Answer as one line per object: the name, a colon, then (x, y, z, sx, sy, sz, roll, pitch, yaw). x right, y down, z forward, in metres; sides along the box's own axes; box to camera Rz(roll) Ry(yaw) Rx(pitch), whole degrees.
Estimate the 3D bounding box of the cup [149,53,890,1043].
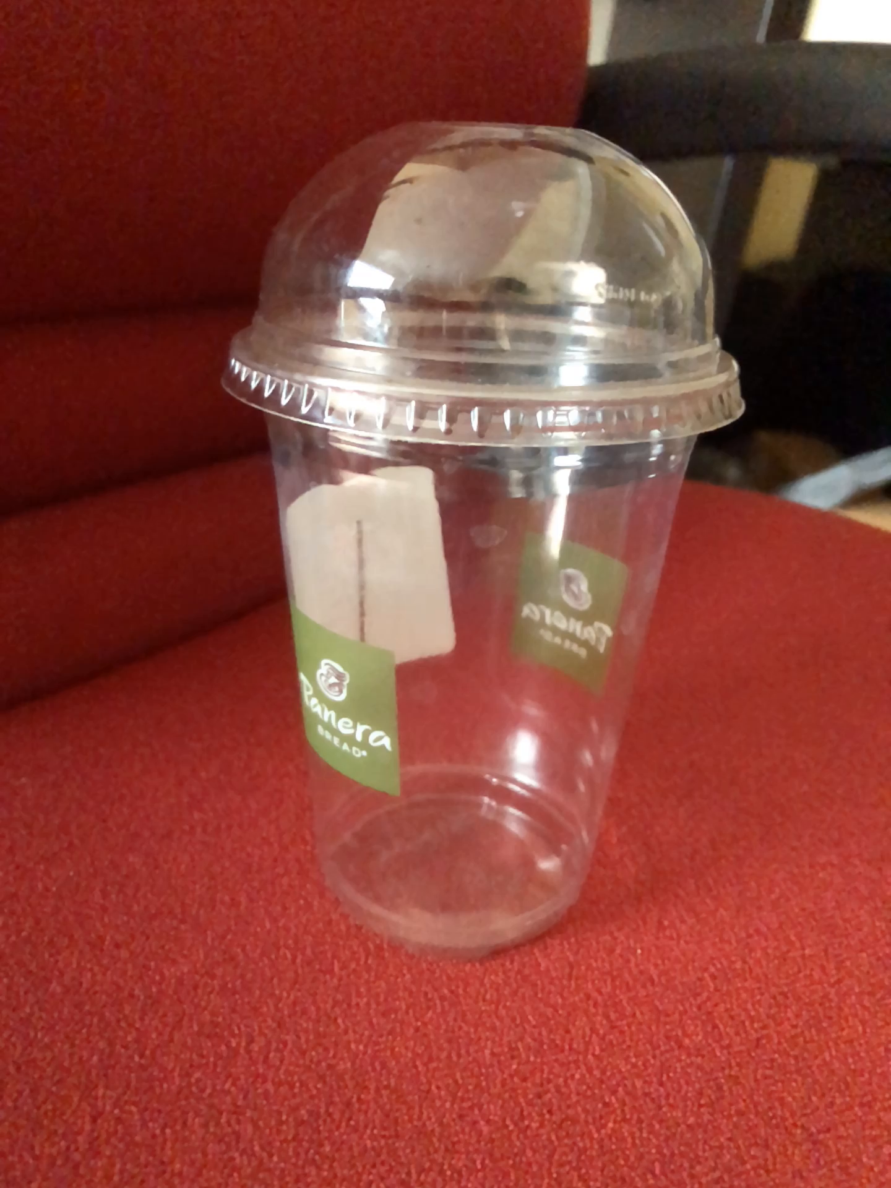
cup: (0.016, -0.019, 0.205, 0.090, 0.150, 0.100, 18, 28, 35)
